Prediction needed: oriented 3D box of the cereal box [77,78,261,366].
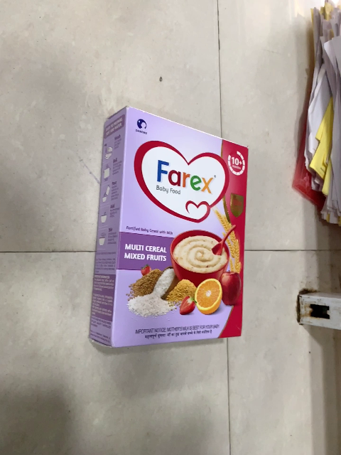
[{"bbox_3d":[0.007,0.002,0.323,0.151,0.060,0.210,8,82,-36],"label":"cereal box"}]
